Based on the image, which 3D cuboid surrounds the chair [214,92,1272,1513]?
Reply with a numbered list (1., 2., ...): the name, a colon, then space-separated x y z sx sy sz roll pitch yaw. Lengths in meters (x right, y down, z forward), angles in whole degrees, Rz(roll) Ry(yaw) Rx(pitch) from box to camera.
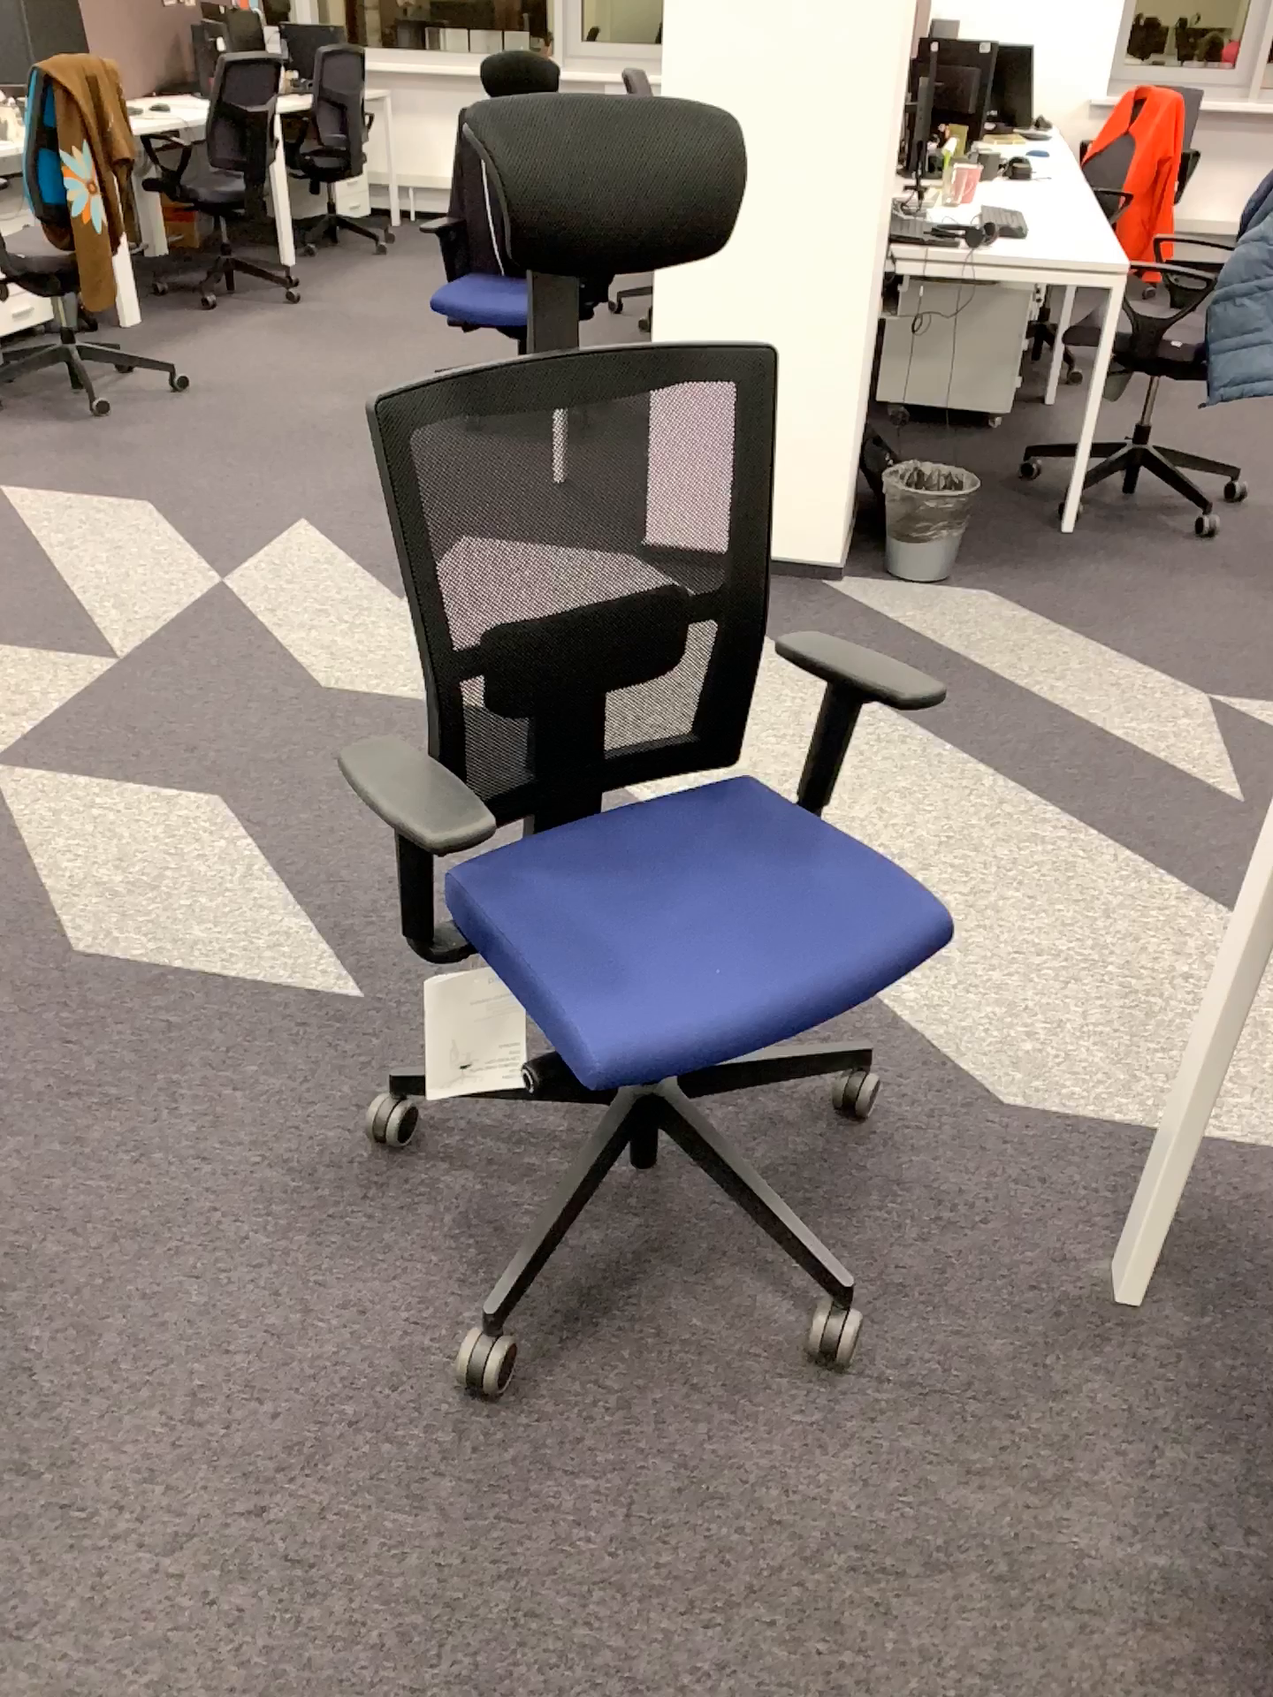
1. chair: 0.070 -0.073 1.408 0.731 1.243 0.673 -13 37 -22
